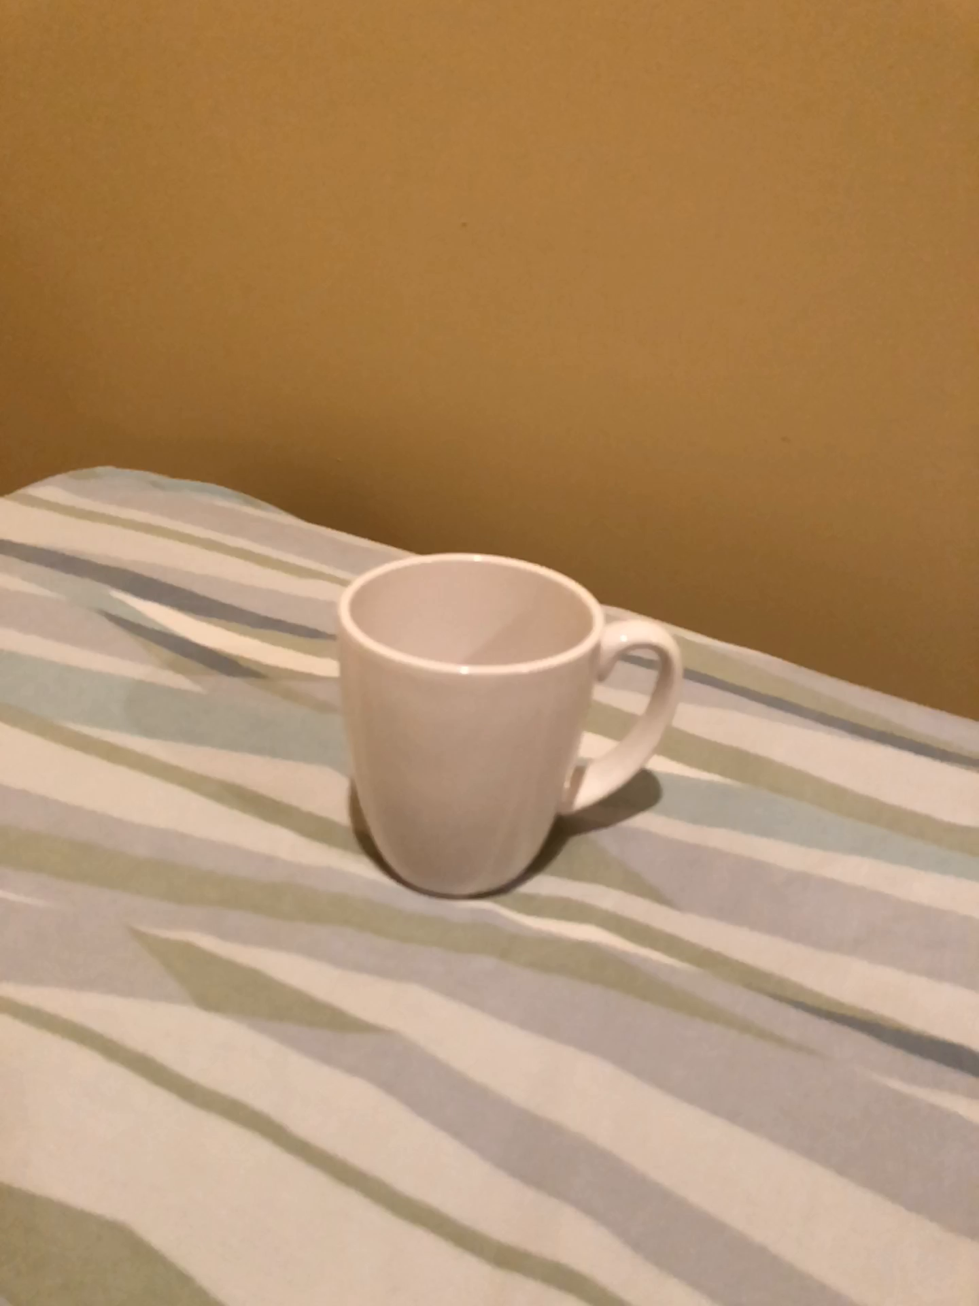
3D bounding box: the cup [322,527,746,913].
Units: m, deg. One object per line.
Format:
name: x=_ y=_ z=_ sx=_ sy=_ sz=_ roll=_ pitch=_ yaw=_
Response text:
cup: x=0.007 y=0.018 z=0.371 sx=0.120 sy=0.090 sz=0.090 roll=-4 pitch=30 yaw=-12
